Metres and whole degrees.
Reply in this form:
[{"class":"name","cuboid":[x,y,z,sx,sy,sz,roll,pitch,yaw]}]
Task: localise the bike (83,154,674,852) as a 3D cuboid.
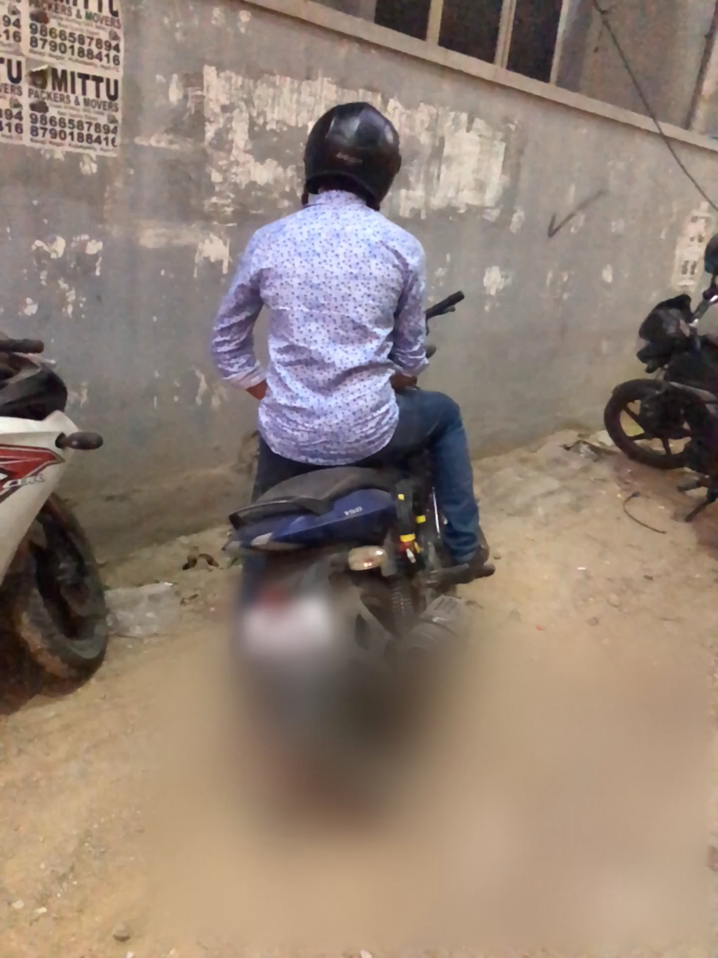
[{"class":"bike","cuboid":[0.127,-0.114,2.254,1.090,1.113,1.513,8,28,3]}]
